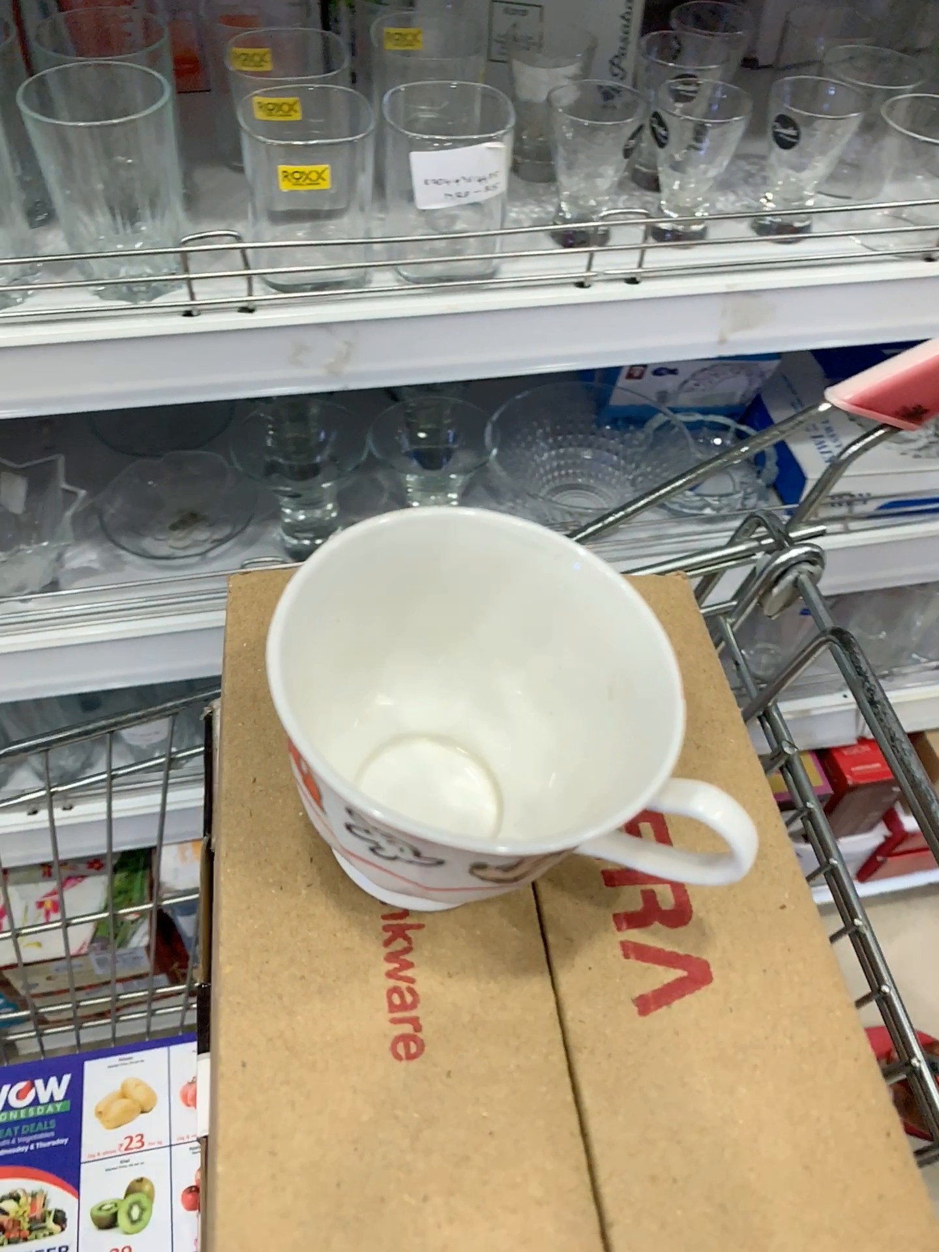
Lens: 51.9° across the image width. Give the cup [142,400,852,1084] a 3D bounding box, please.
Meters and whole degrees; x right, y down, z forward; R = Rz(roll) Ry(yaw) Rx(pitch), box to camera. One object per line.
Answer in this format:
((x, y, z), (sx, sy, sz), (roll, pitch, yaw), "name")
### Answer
((0.005, 0.020, 0.194), (0.100, 0.060, 0.080), (29, 55, 13), "cup")
